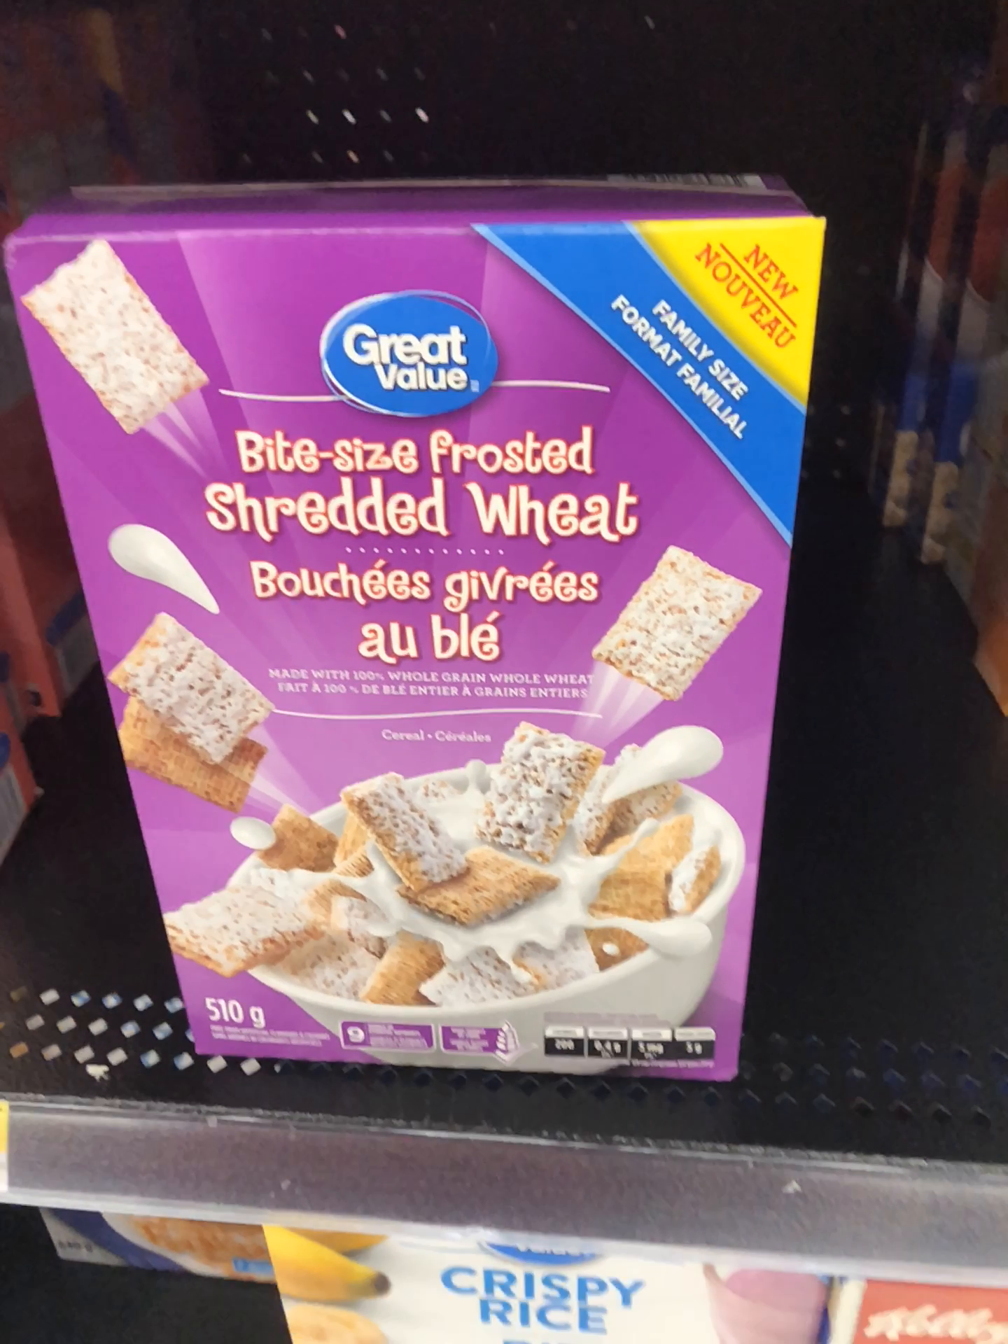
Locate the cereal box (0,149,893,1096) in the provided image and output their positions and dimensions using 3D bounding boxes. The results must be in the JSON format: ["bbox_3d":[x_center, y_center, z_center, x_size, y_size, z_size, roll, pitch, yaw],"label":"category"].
[{"bbox_3d":[-0.017,-0.001,0.343,0.210,0.279,0.070,1,30,6],"label":"cereal box"}]
